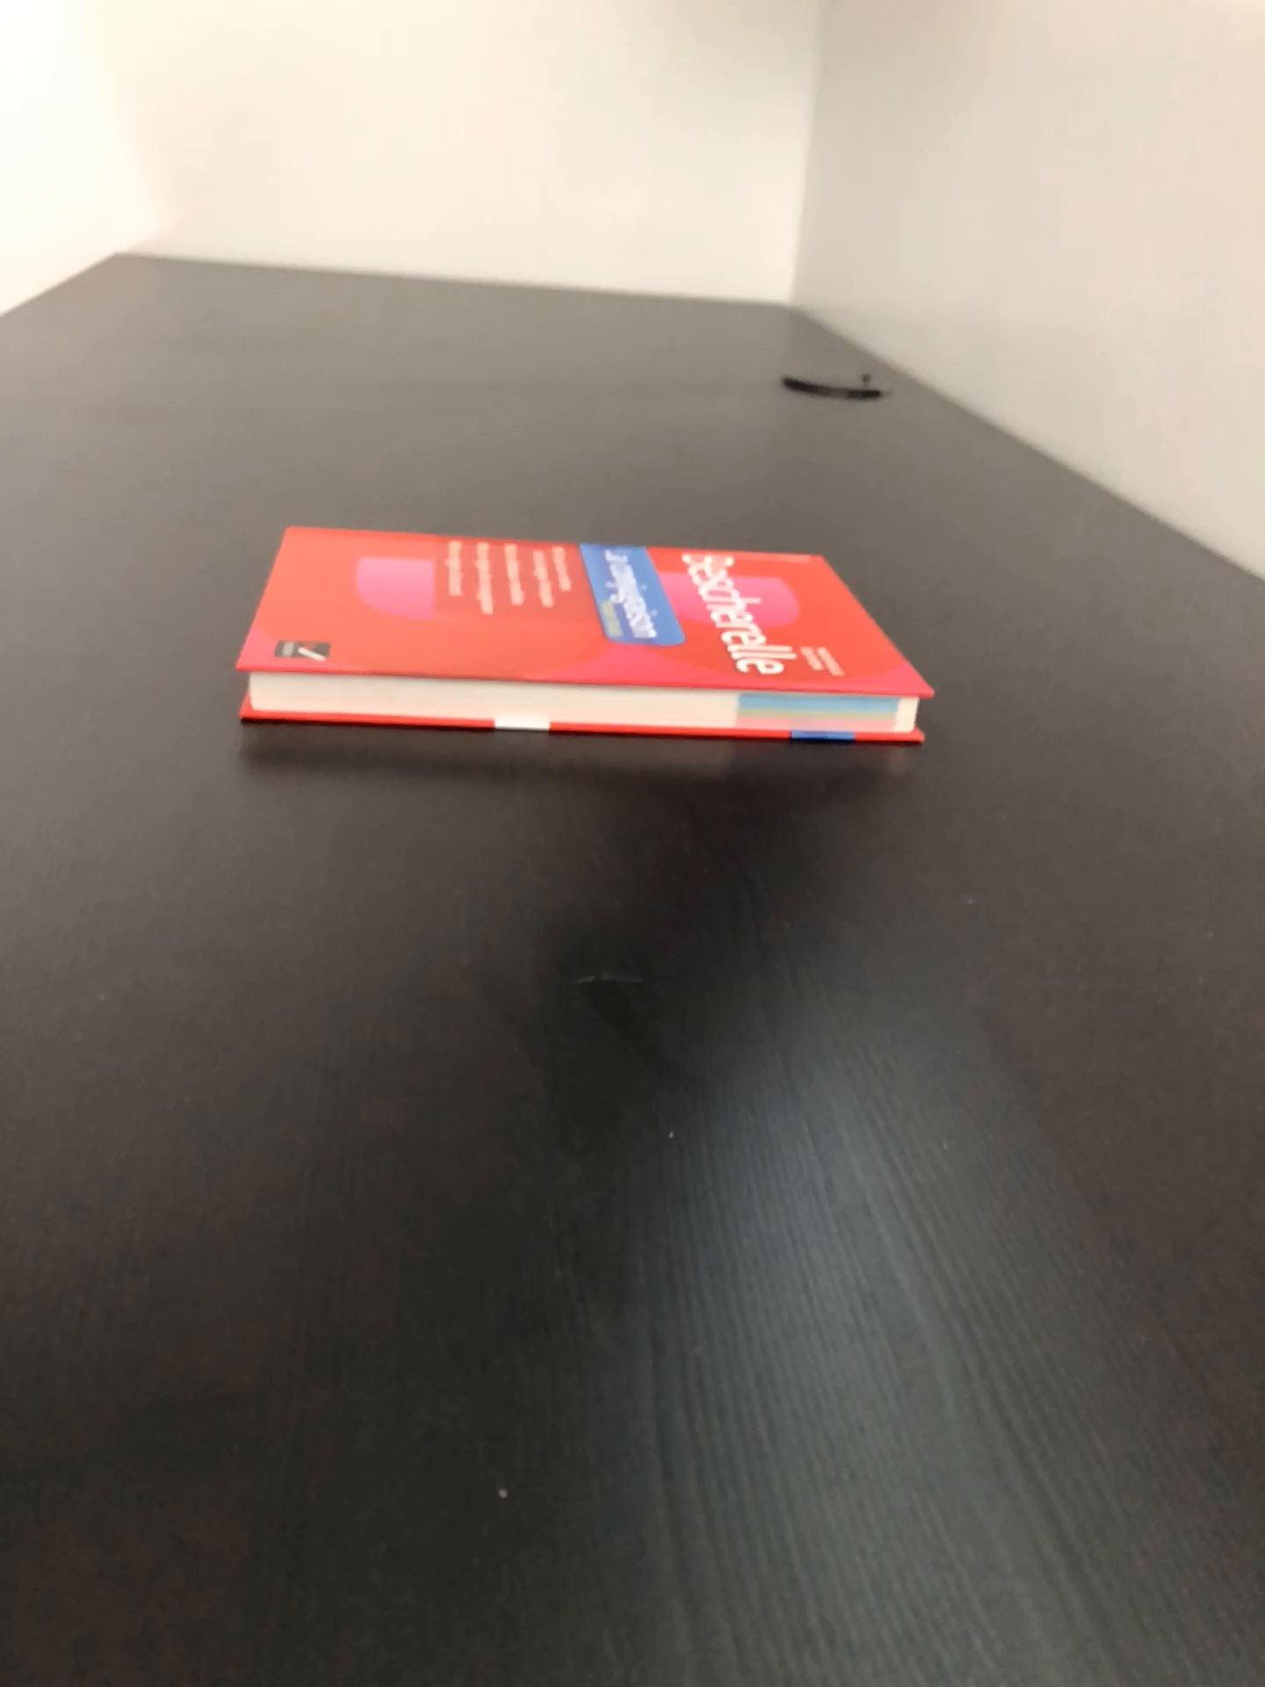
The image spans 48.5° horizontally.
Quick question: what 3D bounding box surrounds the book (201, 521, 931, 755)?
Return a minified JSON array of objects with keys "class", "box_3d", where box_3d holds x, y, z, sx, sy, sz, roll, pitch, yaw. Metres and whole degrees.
[{"class":"book","box_3d":[-0.023,-0.072,0.461,0.203,0.020,0.151,2,26,-7]}]
